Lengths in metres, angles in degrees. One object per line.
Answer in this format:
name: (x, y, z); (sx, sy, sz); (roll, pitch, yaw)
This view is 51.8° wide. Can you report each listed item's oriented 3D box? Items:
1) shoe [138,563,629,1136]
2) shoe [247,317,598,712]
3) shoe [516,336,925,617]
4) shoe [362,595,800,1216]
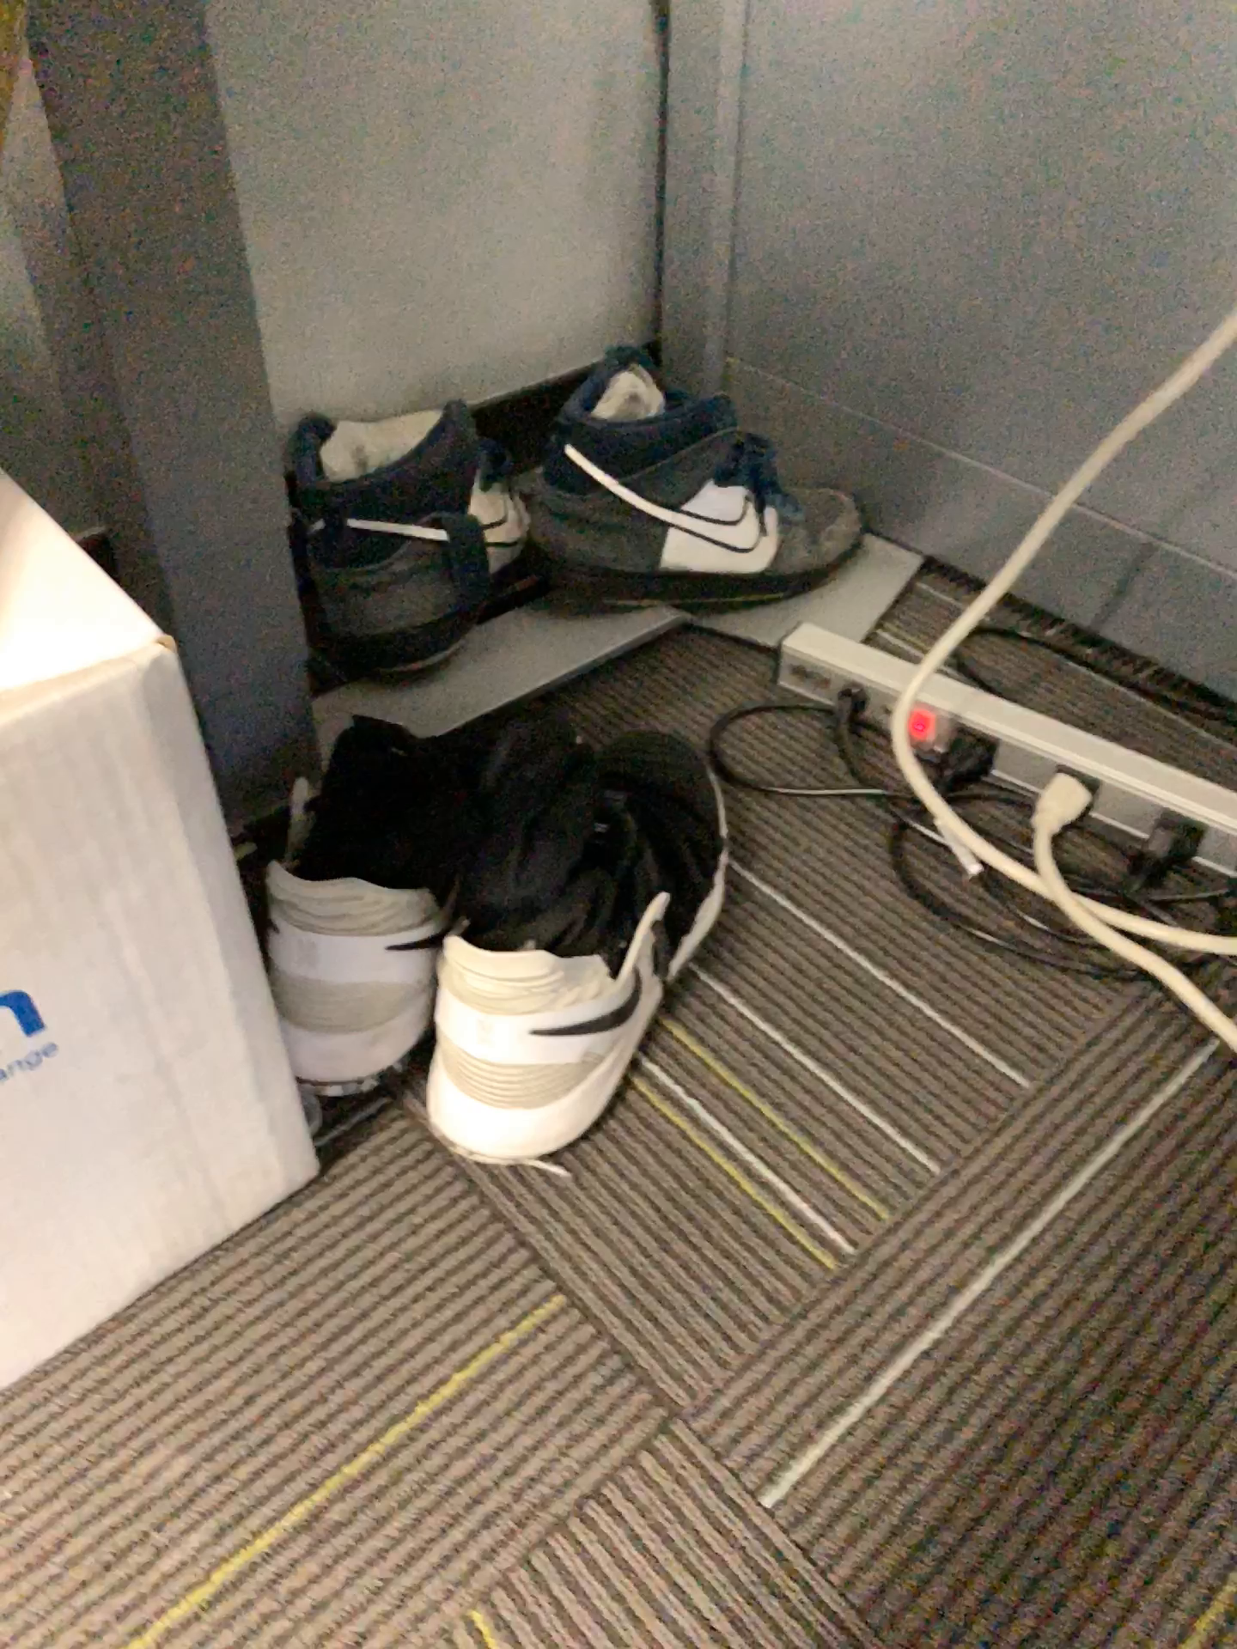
shoe: (-0.104, -0.003, 0.691); (0.100, 0.129, 0.301); (18, 45, 18)
shoe: (-0.128, -0.249, 0.960); (0.130, 0.169, 0.332); (11, 36, 11)
shoe: (0.069, -0.267, 0.980); (0.260, 0.159, 0.131); (-5, 42, -17)
shoe: (-0.004, 0.024, 0.640); (0.100, 0.129, 0.291); (16, 44, 15)
